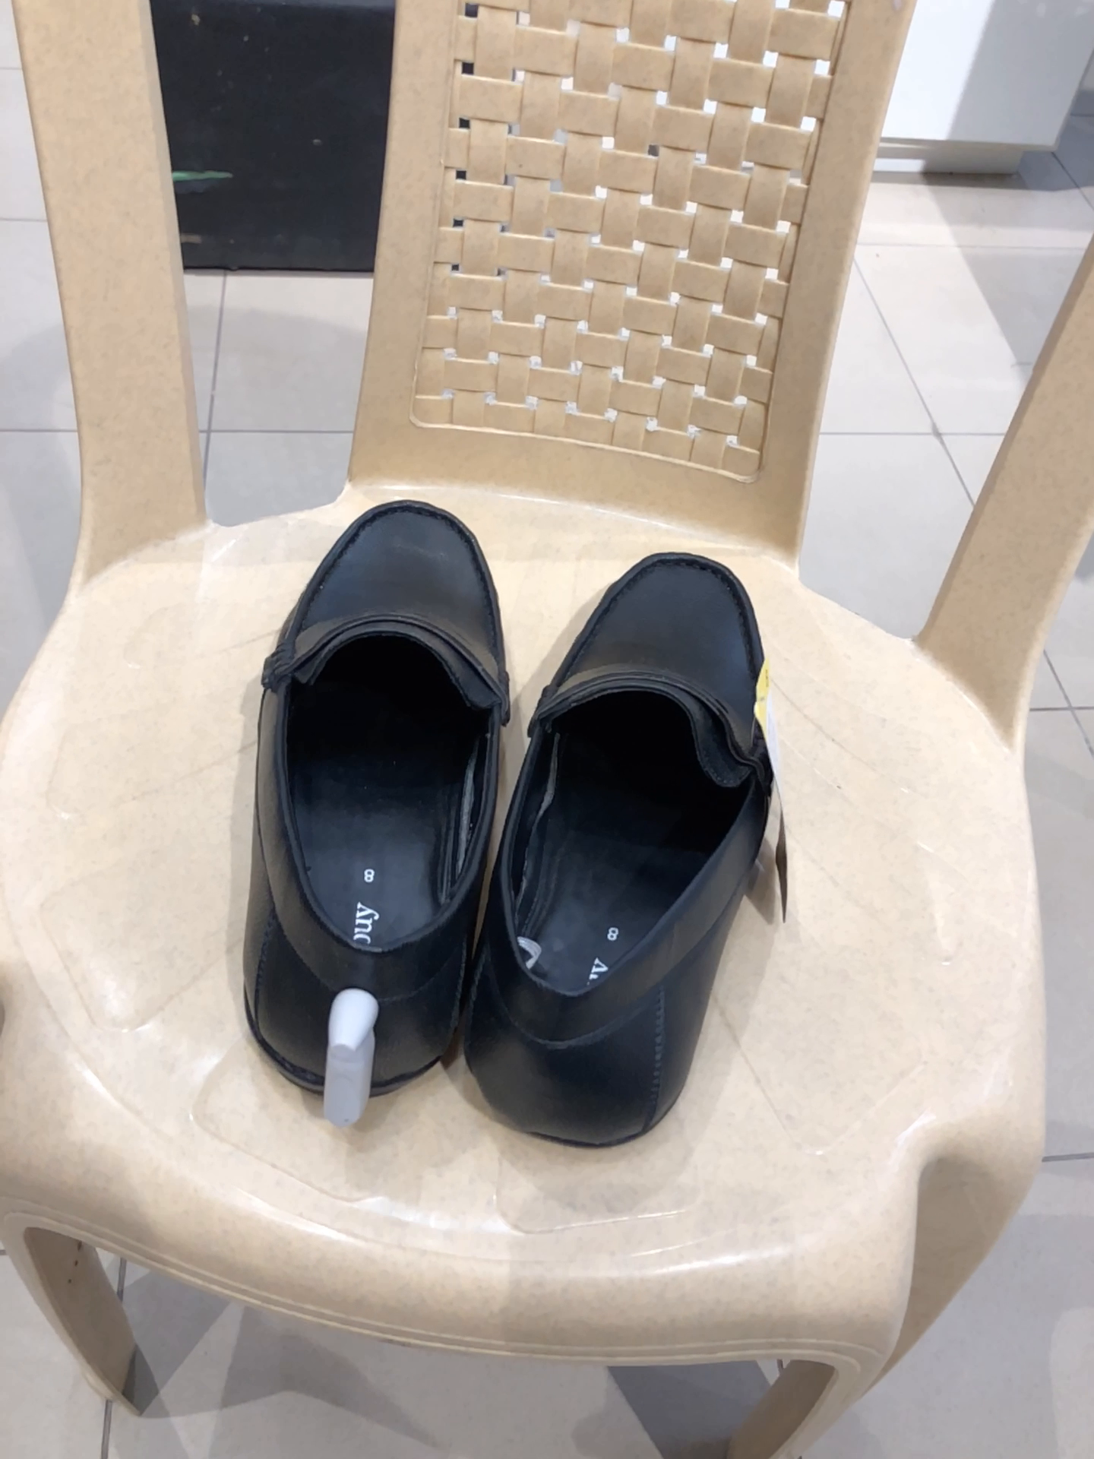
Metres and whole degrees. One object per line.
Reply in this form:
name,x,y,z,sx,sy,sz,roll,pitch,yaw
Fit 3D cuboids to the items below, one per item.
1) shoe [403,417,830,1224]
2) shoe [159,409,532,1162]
shoe,0.035,0.015,0.447,0.100,0.088,0.284,12,52,4
shoe,-0.059,0.006,0.449,0.100,0.088,0.277,3,52,-4
